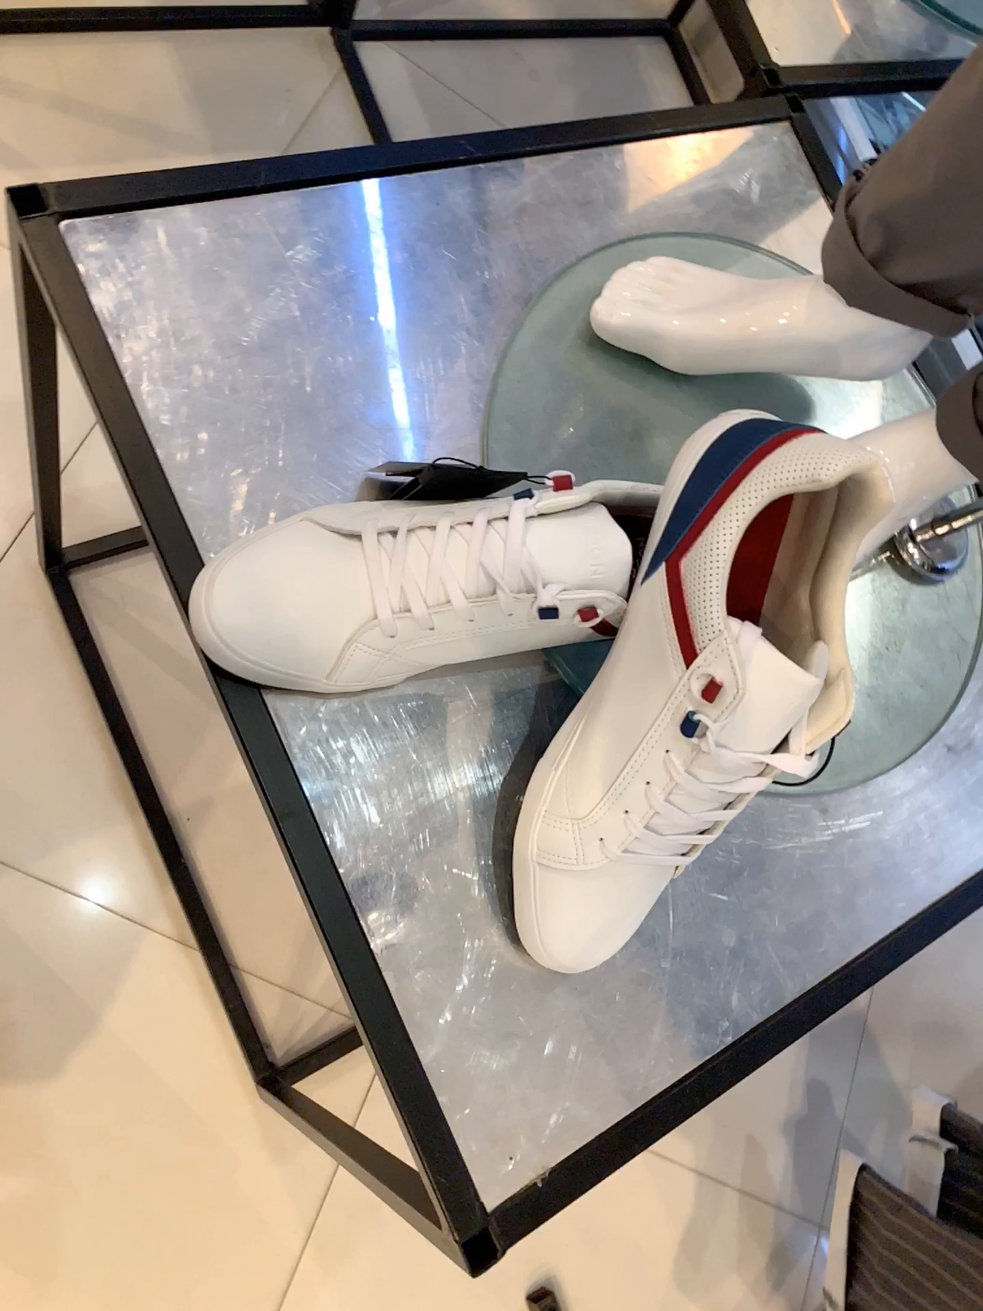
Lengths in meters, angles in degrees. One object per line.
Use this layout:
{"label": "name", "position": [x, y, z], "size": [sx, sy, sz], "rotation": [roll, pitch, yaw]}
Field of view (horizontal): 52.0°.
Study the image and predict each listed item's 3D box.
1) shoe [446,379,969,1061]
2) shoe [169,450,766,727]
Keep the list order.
{"label": "shoe", "position": [0.098, 0.025, 0.479], "size": [0.100, 0.100, 0.280], "rotation": [28, 85, -22]}
{"label": "shoe", "position": [-0.011, -0.036, 0.523], "size": [0.281, 0.100, 0.100], "rotation": [-8, 87, -22]}
